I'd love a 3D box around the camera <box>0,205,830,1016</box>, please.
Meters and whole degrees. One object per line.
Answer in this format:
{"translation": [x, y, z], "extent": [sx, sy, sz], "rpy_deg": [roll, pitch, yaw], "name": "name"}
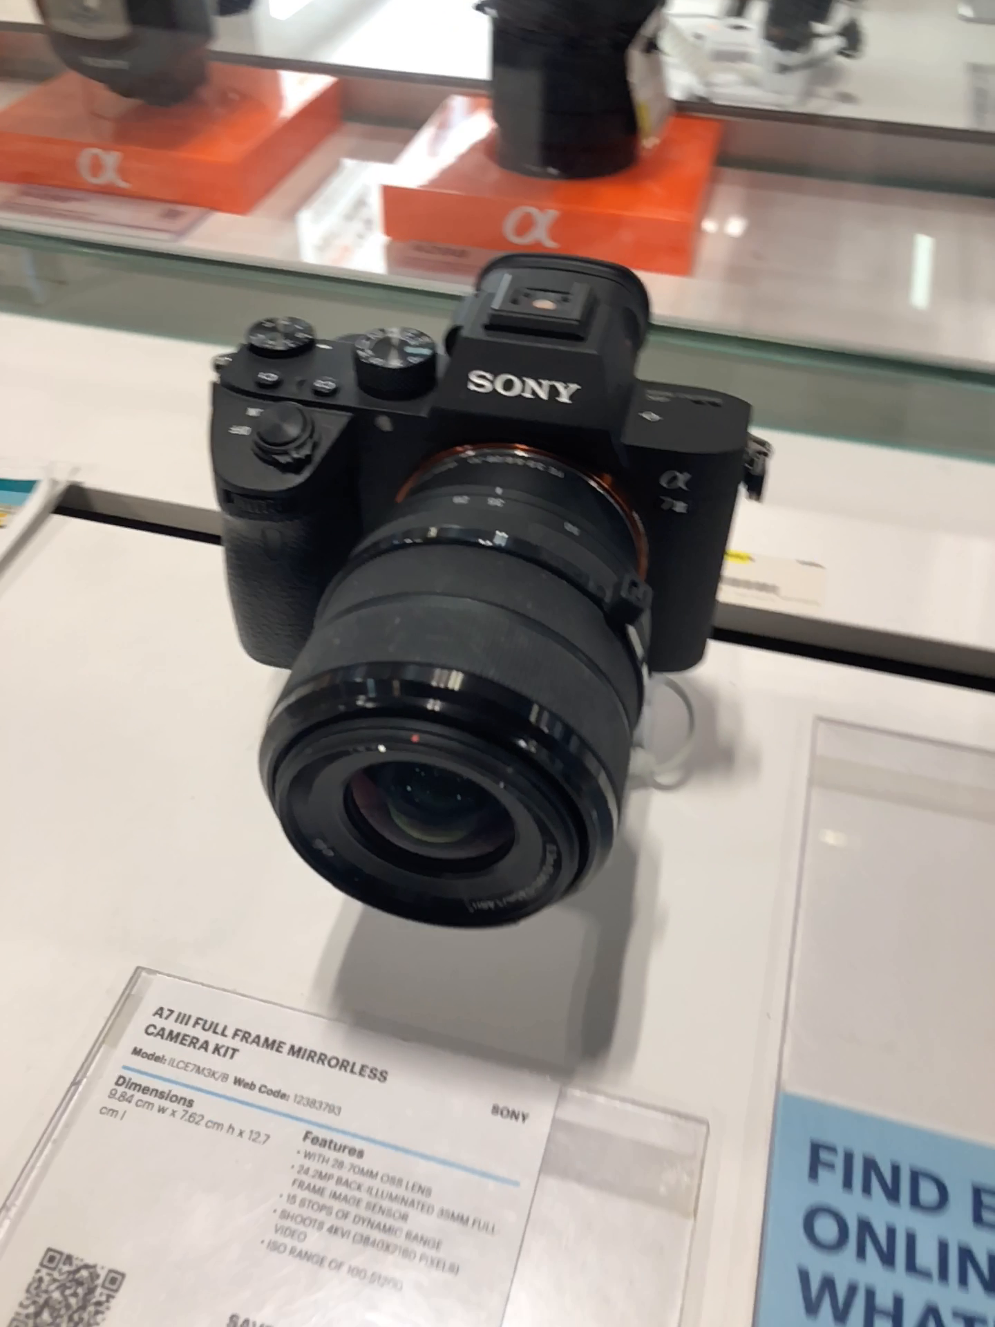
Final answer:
{"translation": [-0.005, -0.026, 0.255], "extent": [0.140, 0.079, 0.161], "rpy_deg": [10, 46, 9], "name": "camera"}
